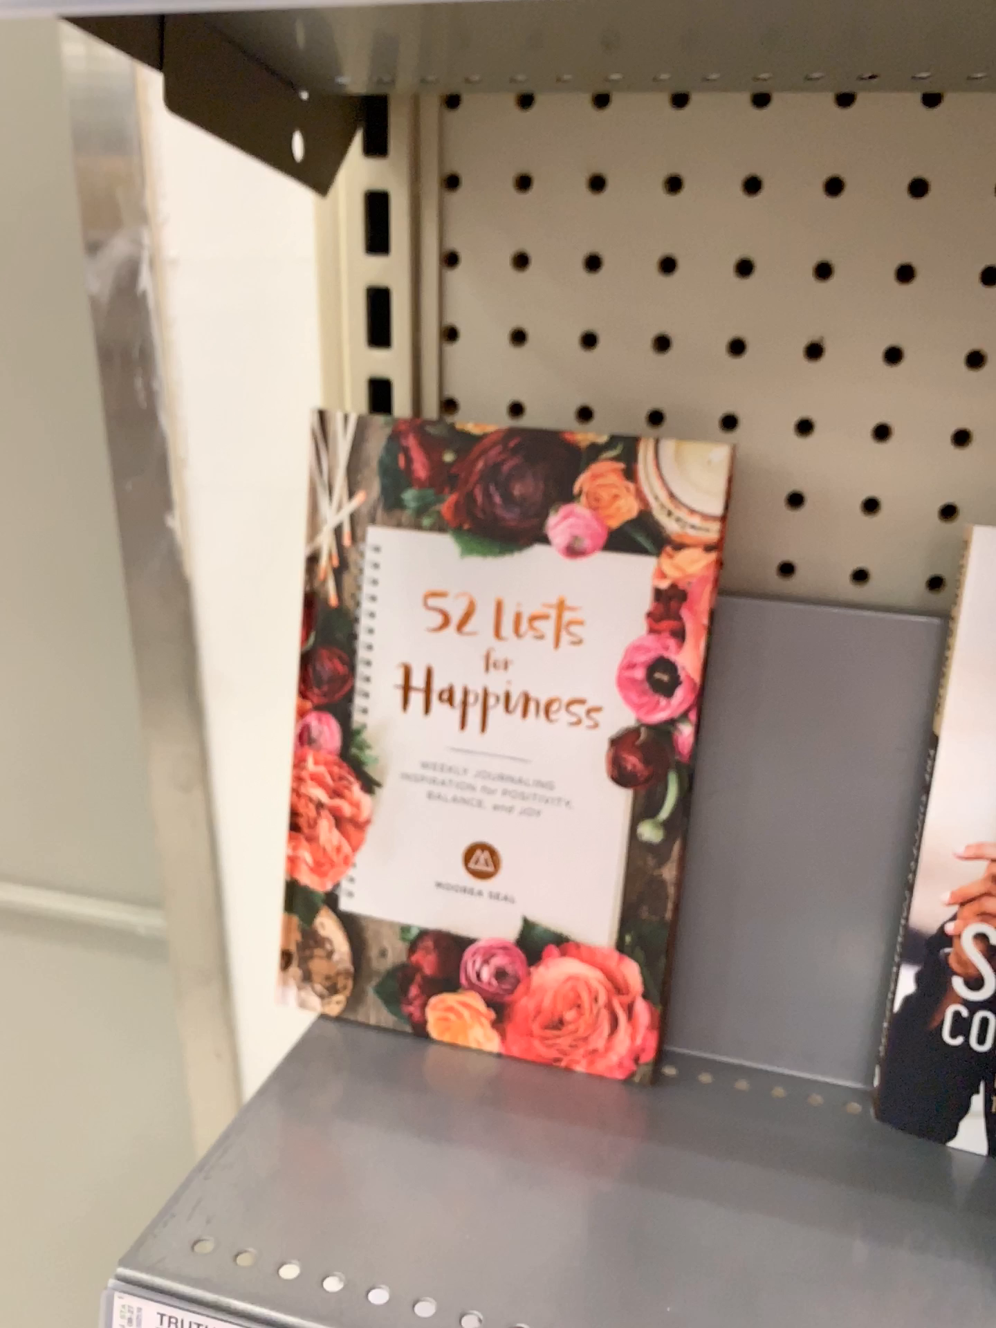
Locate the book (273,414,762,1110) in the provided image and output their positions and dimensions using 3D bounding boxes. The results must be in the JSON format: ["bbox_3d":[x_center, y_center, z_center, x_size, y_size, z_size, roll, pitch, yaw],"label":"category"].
[{"bbox_3d":[0.000,0.030,0.356,0.150,0.216,0.020,7,10,15],"label":"book"}]
